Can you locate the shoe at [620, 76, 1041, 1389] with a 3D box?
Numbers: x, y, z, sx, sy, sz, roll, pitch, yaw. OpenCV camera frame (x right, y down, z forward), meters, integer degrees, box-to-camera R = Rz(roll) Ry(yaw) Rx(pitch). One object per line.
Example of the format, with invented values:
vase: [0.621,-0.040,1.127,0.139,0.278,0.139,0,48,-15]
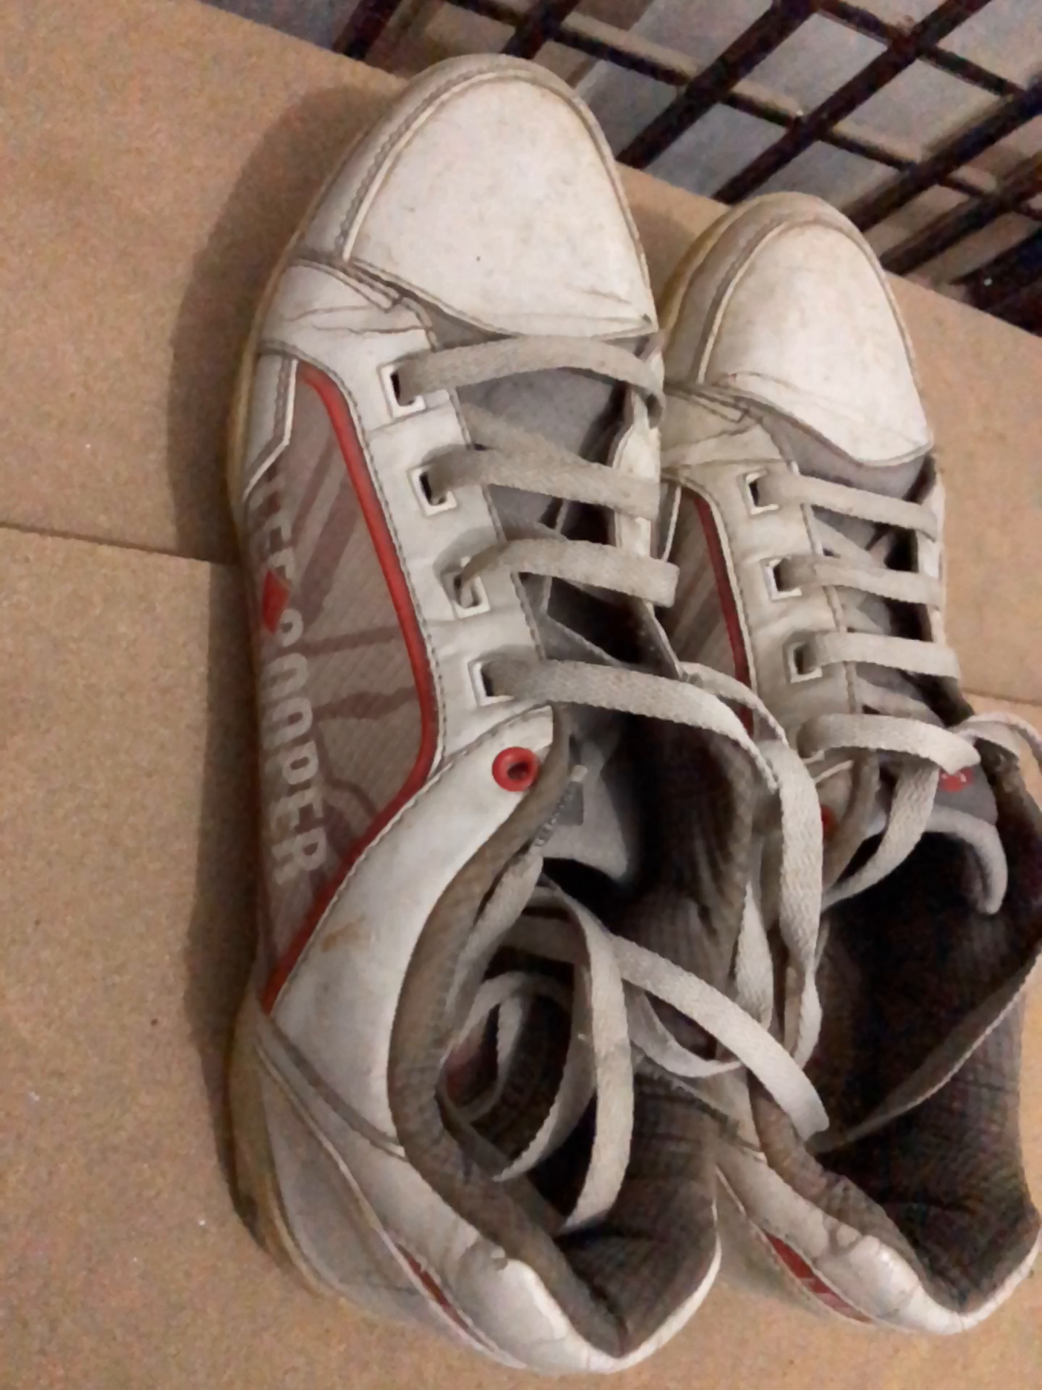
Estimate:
shoe: [0.094,0.005,0.291,0.100,0.080,0.270,8,74,-31]

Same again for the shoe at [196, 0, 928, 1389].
shoe: [0.003,-0.014,0.235,0.100,0.080,0.270,8,74,-31]
